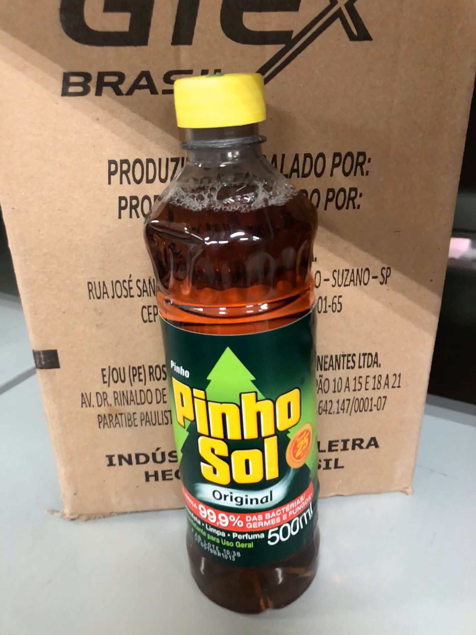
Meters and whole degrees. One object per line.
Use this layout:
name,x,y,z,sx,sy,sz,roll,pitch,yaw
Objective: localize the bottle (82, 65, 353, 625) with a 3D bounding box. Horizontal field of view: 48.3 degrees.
bottle,-0.001,0.022,0.212,0.070,0.218,0.060,-2,26,1
